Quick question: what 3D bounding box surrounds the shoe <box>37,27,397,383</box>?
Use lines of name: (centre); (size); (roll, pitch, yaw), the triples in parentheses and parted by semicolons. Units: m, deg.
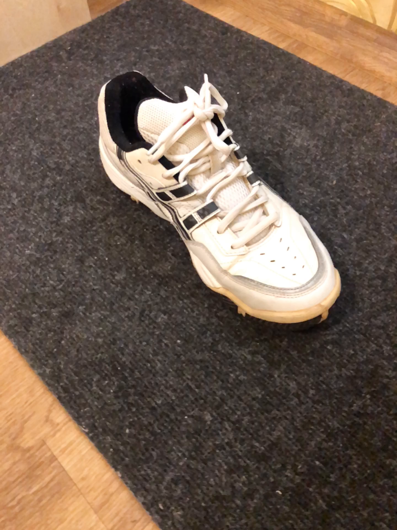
shoe: (0.003, -0.063, 0.351); (0.100, 0.110, 0.289); (-36, 60, -19)
